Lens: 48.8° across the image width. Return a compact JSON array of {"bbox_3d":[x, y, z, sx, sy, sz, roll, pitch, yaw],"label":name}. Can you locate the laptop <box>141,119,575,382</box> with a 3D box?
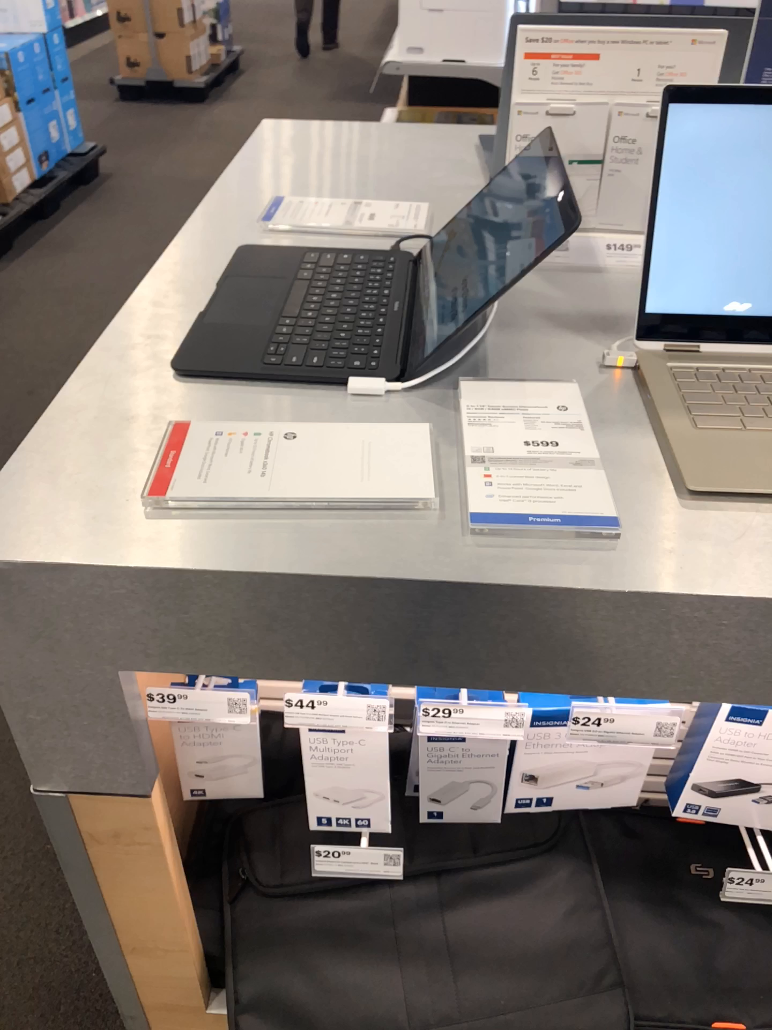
[{"bbox_3d":[-0.015,-0.265,0.808,0.334,0.134,0.295,3,38,4],"label":"laptop"}]
